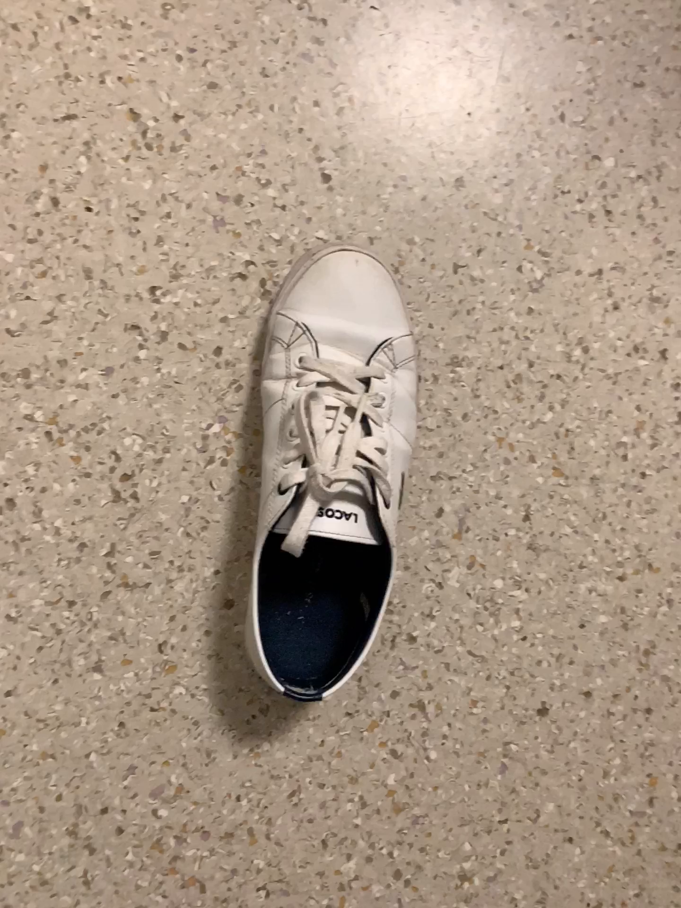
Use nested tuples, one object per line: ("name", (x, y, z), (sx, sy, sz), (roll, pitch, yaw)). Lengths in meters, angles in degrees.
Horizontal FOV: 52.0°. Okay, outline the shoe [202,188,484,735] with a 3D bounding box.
("shoe", (-0.004, 0.005, 0.380), (0.100, 0.090, 0.250), (9, 88, -9))
